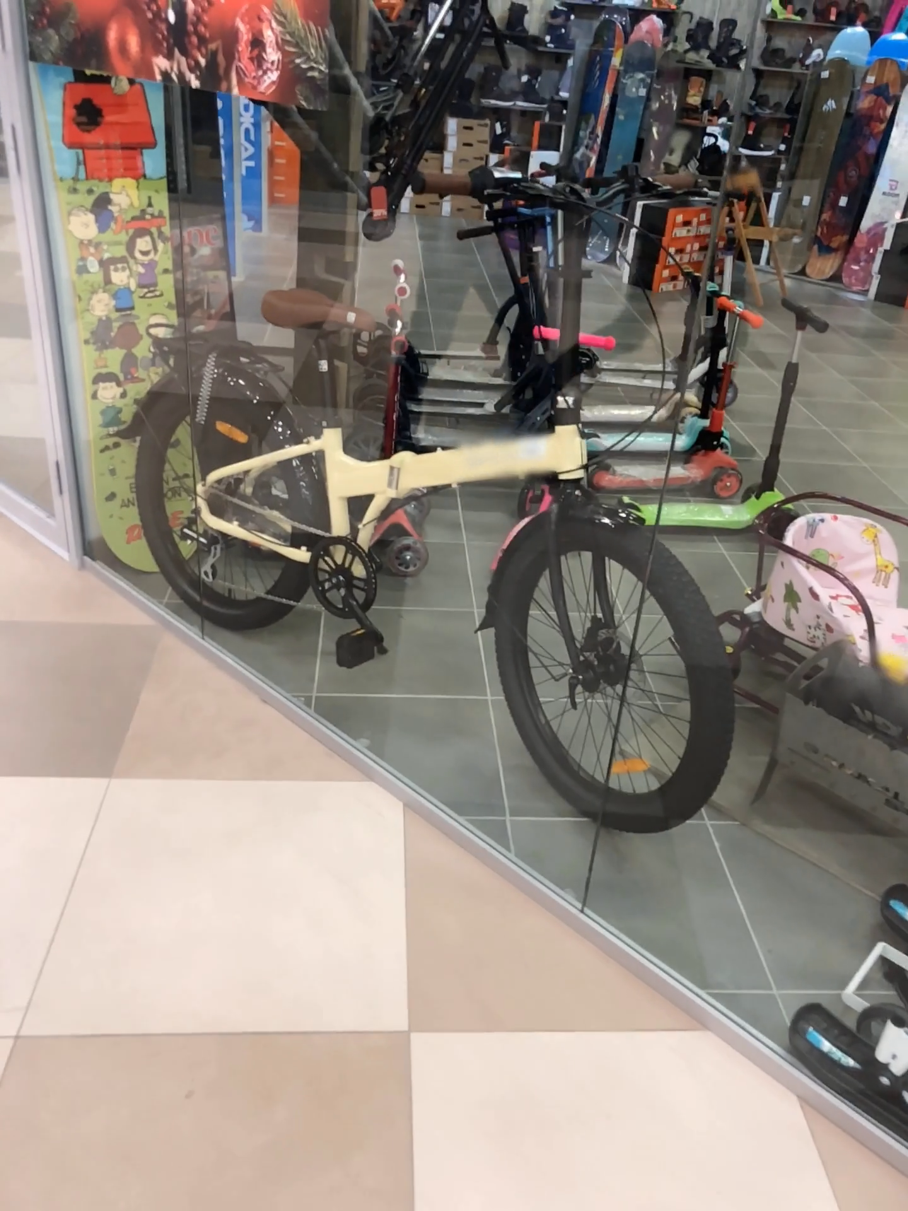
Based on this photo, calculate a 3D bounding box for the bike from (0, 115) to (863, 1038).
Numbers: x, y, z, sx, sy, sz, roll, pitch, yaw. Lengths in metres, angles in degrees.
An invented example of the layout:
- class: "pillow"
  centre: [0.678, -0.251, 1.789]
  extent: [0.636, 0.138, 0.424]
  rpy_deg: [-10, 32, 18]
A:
- class: "bike"
  centre: [-0.197, -0.257, 2.030]
  extent: [1.706, 1.174, 0.595]
  rpy_deg: [25, 34, 32]
